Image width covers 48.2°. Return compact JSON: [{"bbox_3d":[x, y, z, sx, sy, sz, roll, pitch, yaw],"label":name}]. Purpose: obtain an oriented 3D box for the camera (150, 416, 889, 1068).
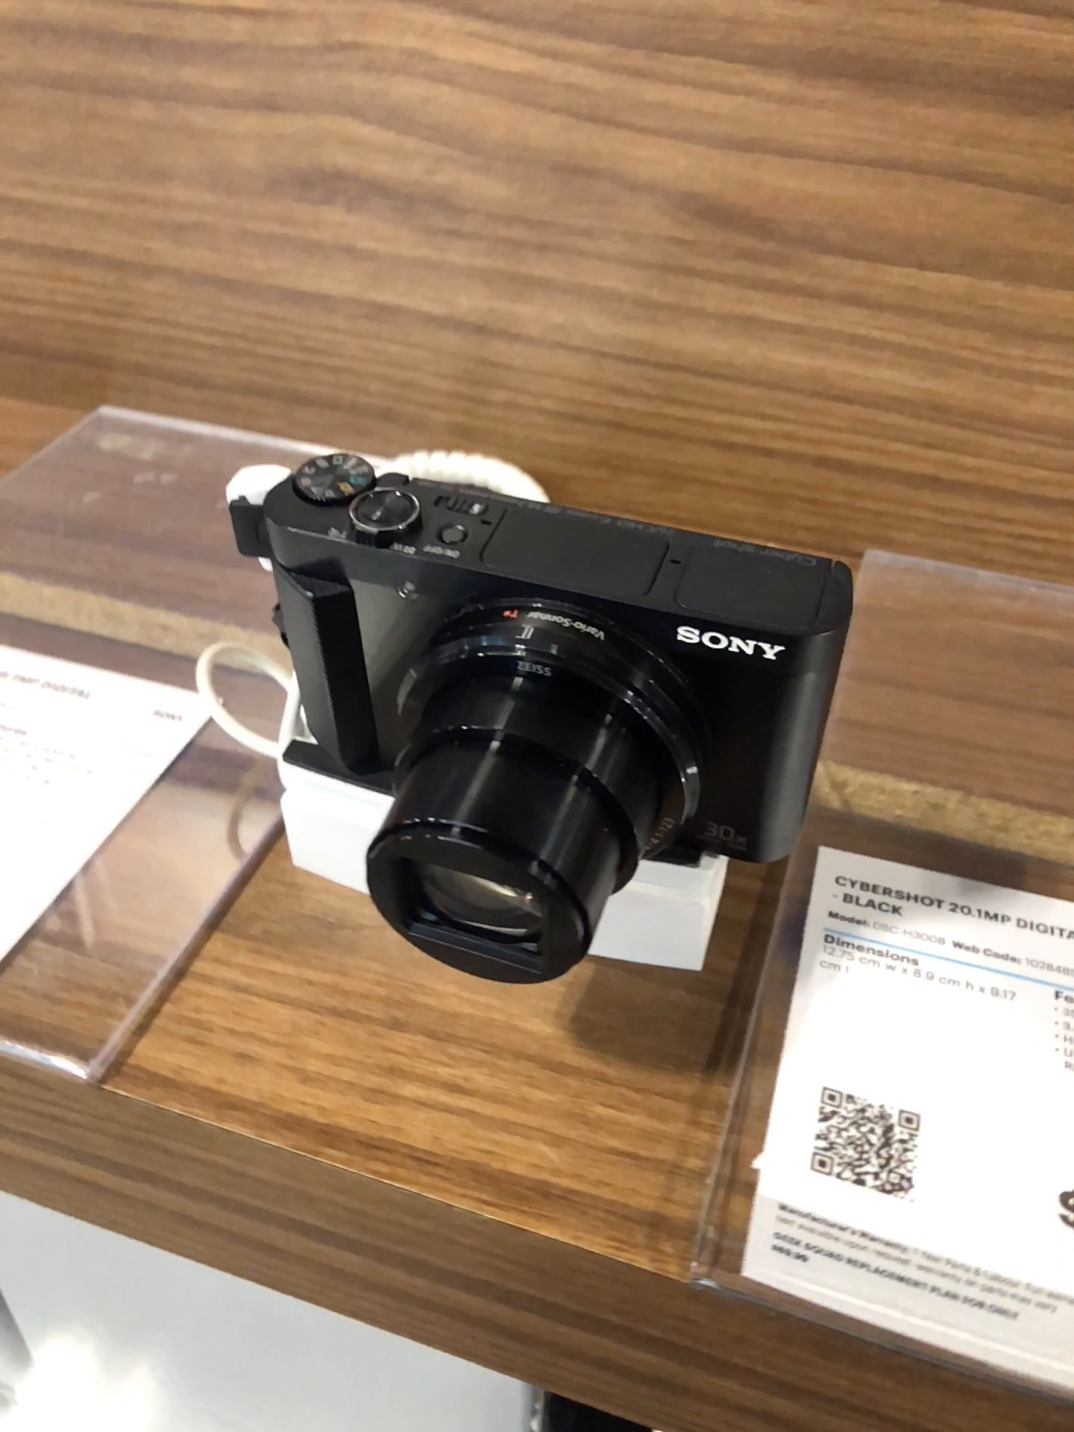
[{"bbox_3d":[0.000,0.001,0.207,0.100,0.070,0.060,13,39,14],"label":"camera"}]
